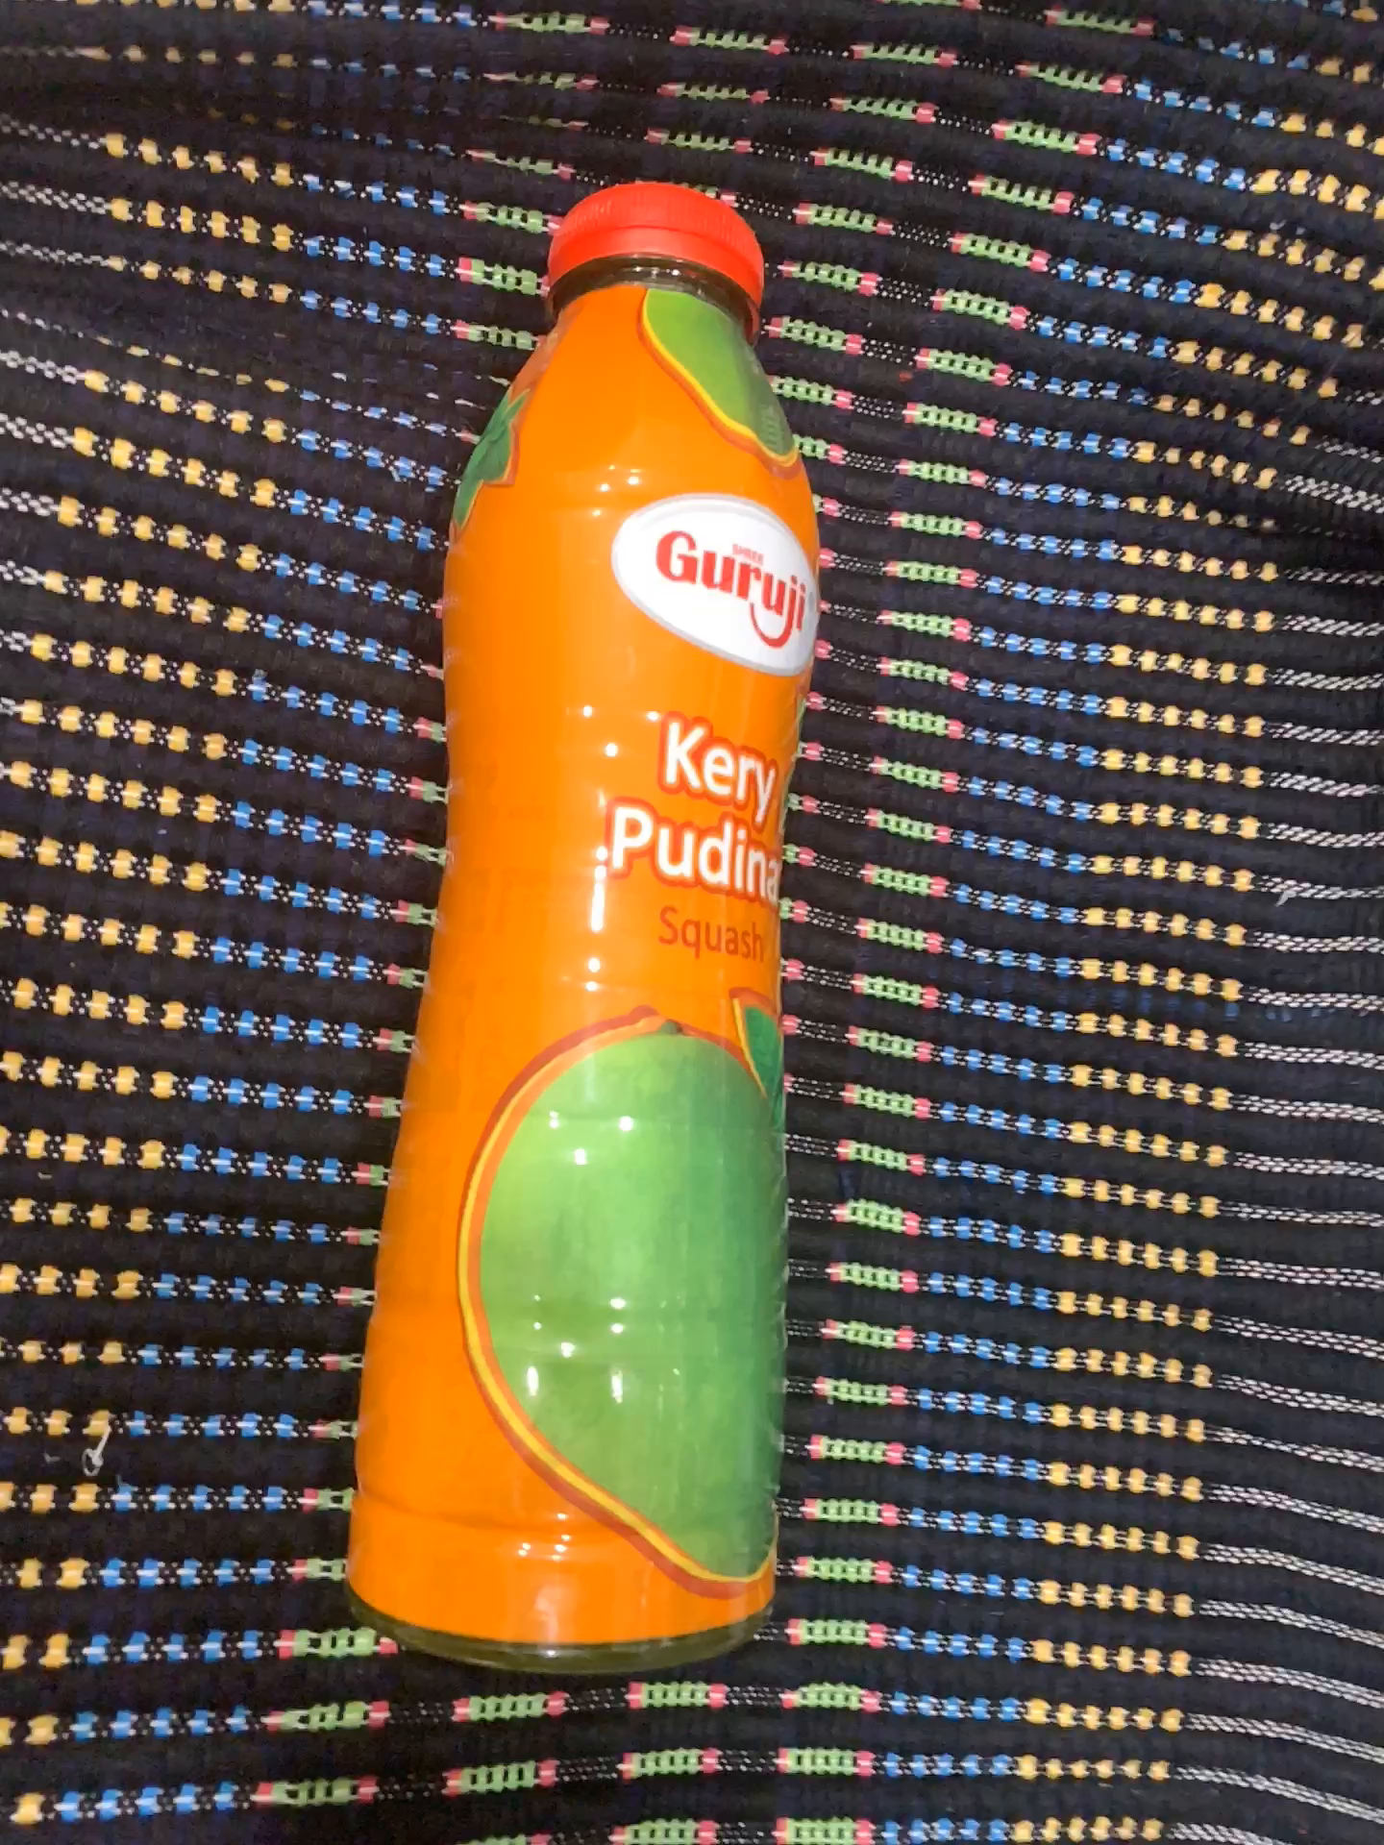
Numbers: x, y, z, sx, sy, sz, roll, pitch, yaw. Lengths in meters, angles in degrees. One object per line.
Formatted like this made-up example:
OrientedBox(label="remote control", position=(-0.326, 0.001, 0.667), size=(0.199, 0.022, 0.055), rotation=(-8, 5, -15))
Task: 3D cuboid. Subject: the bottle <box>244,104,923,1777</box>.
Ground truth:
OrientedBox(label="bottle", position=(-0.009, -0.003, 0.238), size=(0.070, 0.070, 0.230), rotation=(26, 66, -63))
